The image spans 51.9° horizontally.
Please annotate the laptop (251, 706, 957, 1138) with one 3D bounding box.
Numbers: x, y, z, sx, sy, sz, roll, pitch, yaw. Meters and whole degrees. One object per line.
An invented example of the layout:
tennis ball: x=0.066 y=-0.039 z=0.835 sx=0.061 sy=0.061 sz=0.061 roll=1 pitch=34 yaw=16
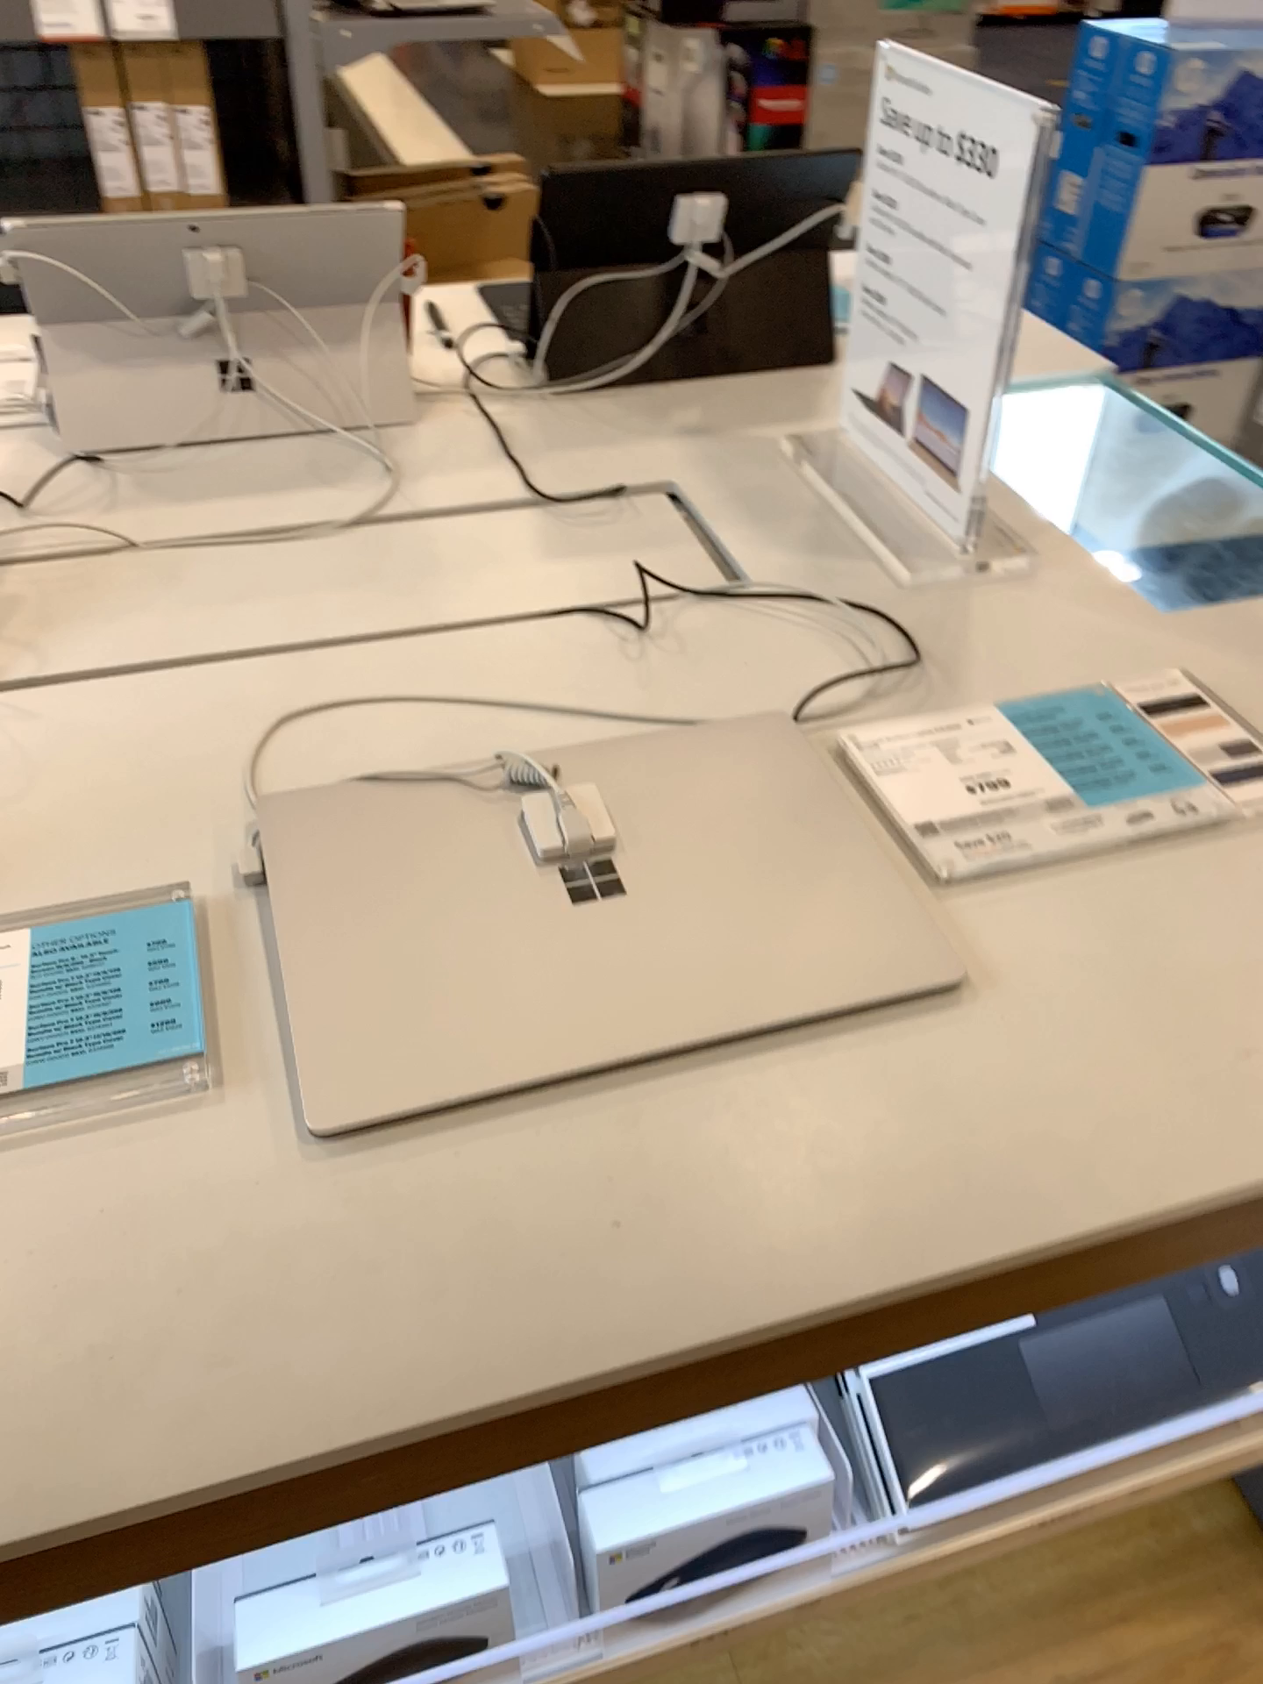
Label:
laptop: x=-0.024 y=0.020 z=0.643 sx=0.297 sy=0.008 sz=0.221 roll=-10 pitch=43 yaw=-16
